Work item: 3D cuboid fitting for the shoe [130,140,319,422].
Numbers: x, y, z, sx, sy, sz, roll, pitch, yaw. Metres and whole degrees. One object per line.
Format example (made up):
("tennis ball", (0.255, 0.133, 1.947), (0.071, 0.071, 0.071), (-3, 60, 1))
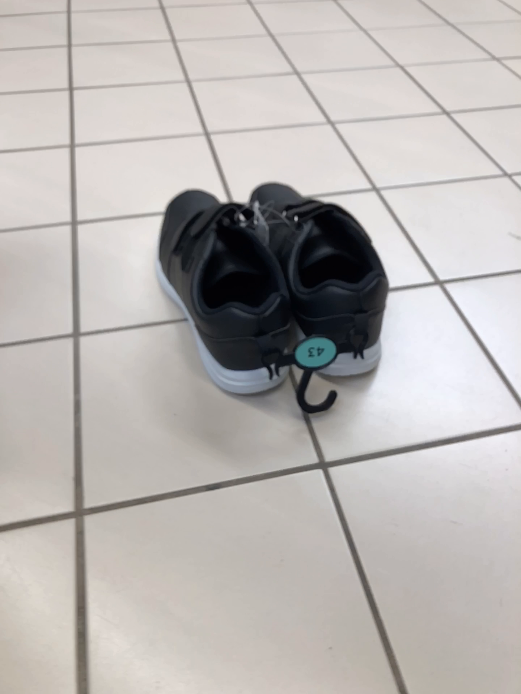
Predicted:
("shoe", (-0.050, -0.086, 0.590), (0.100, 0.099, 0.311), (-13, 48, -13))

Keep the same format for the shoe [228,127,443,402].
("shoe", (0.054, -0.103, 0.597), (0.100, 0.099, 0.311), (-11, 47, -12))
